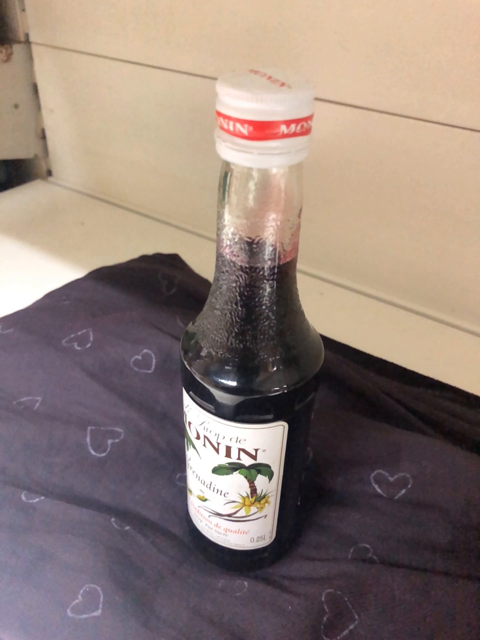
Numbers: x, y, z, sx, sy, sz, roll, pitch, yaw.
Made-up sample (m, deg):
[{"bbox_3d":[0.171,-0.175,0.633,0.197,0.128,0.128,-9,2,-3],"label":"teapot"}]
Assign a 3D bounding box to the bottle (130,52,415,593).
[{"bbox_3d":[0.005,0.011,0.211,0.060,0.199,0.060,3,34,-2],"label":"bottle"}]
